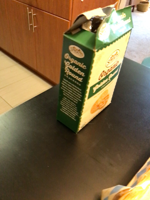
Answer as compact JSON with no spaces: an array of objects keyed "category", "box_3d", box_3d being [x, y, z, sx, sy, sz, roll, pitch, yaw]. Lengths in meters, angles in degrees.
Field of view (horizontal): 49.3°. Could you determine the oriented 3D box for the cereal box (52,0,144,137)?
[{"category":"cereal box","box_3d":[0.038,-0.066,0.366,0.080,0.248,0.171,32,47,25]}]
